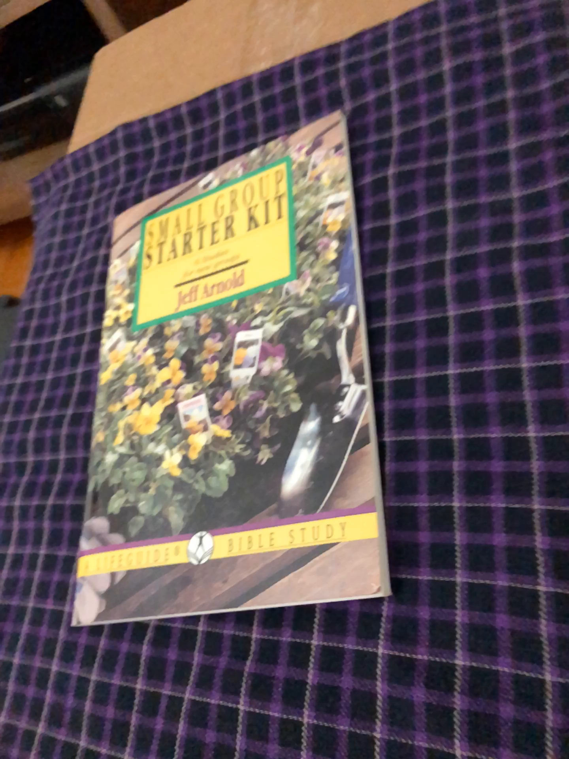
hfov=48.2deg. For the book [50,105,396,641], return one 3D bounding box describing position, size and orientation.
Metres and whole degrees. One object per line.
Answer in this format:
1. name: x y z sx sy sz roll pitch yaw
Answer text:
1. book: -0.034 -0.007 0.282 0.150 0.010 0.221 -16 61 27
